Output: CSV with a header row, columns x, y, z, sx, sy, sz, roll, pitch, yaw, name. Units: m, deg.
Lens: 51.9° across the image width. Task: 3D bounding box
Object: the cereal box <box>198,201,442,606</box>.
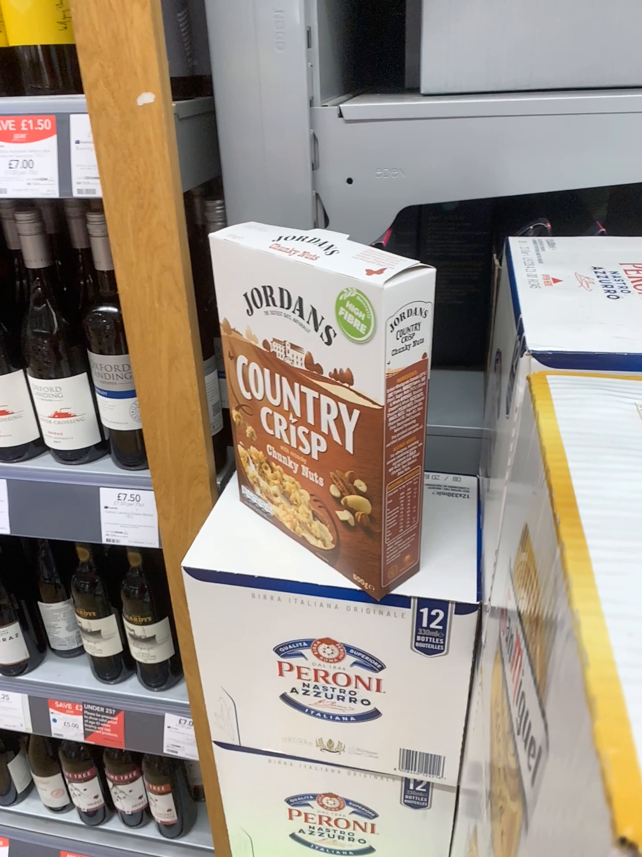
x,y,z,sx,sy,sz,roll,pitch,yaw,name
-0.006,-0.024,0.505,0.050,0.258,0.191,-24,36,-35,cereal box
